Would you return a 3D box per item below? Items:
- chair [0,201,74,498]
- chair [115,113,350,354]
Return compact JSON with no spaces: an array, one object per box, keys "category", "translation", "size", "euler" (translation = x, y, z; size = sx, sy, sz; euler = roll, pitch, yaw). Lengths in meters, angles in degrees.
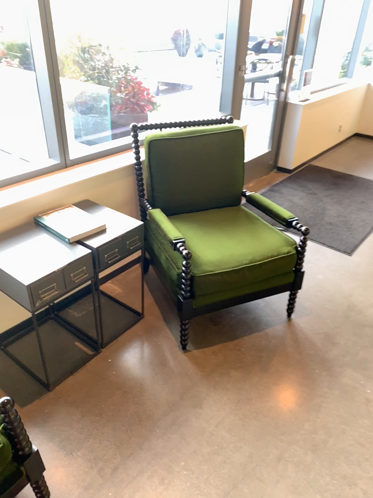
[{"category":"chair","translation":[-0.978,0.567,0.950],"size":[0.842,0.924,0.914],"euler":[20,36,26]},{"category":"chair","translation":[0.156,-0.177,2.213],"size":[0.870,0.924,0.946],"euler":[-11,34,-20]}]
